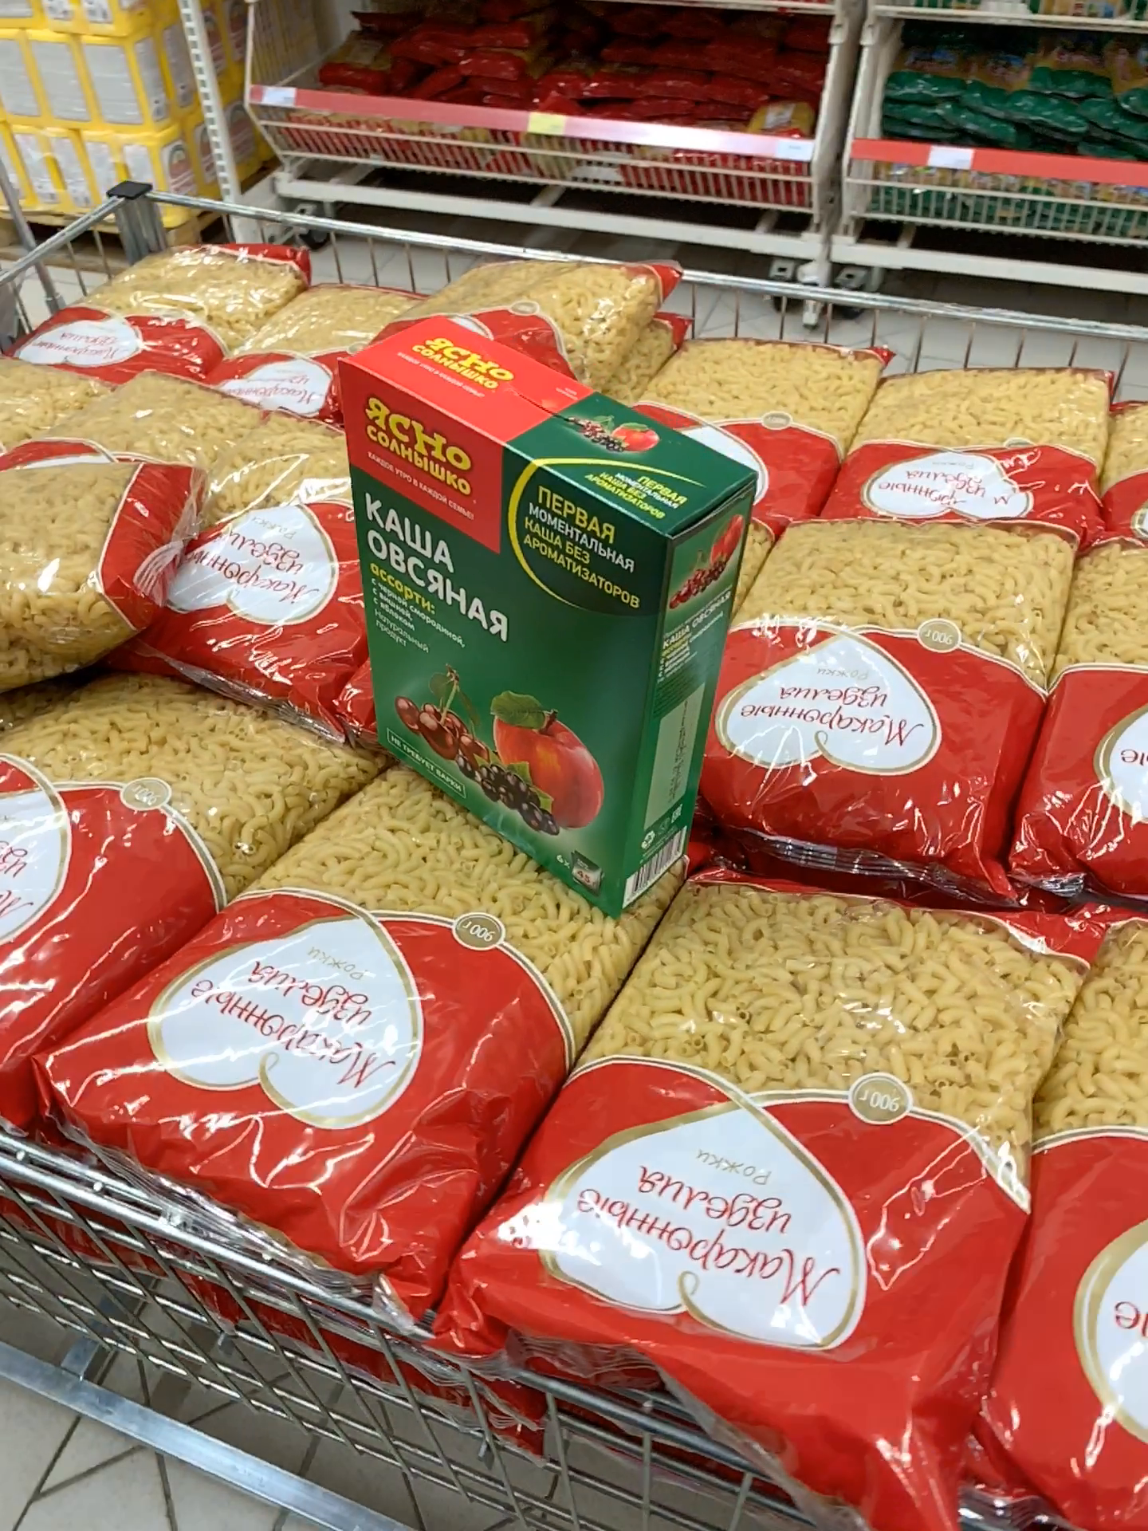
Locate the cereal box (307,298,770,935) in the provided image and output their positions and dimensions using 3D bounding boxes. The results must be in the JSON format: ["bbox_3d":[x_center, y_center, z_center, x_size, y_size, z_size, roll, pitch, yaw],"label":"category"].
[{"bbox_3d":[-0.022,-0.055,0.472,0.161,0.198,0.060,34,52,26],"label":"cereal box"}]
